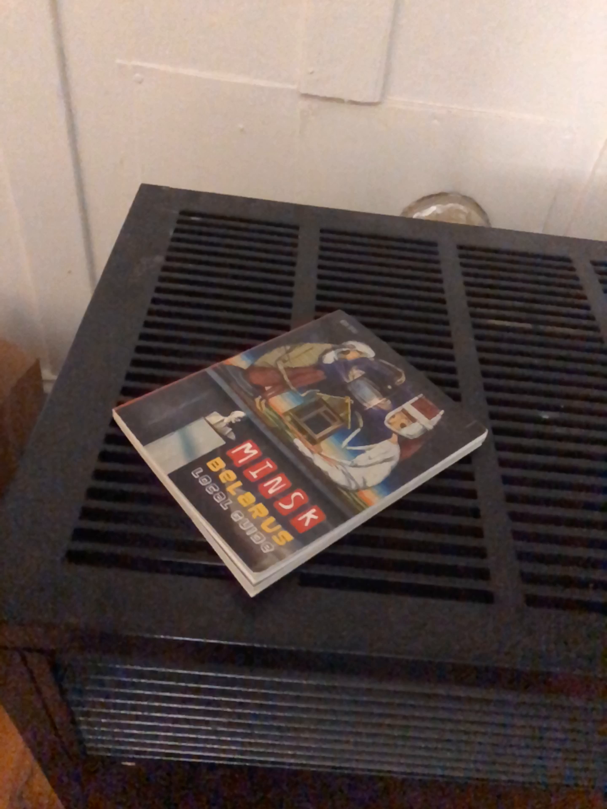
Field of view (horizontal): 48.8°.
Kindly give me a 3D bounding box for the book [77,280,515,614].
[{"bbox_3d":[-0.003,0.004,0.397,0.201,0.020,0.160,-26,54,-30],"label":"book"}]
